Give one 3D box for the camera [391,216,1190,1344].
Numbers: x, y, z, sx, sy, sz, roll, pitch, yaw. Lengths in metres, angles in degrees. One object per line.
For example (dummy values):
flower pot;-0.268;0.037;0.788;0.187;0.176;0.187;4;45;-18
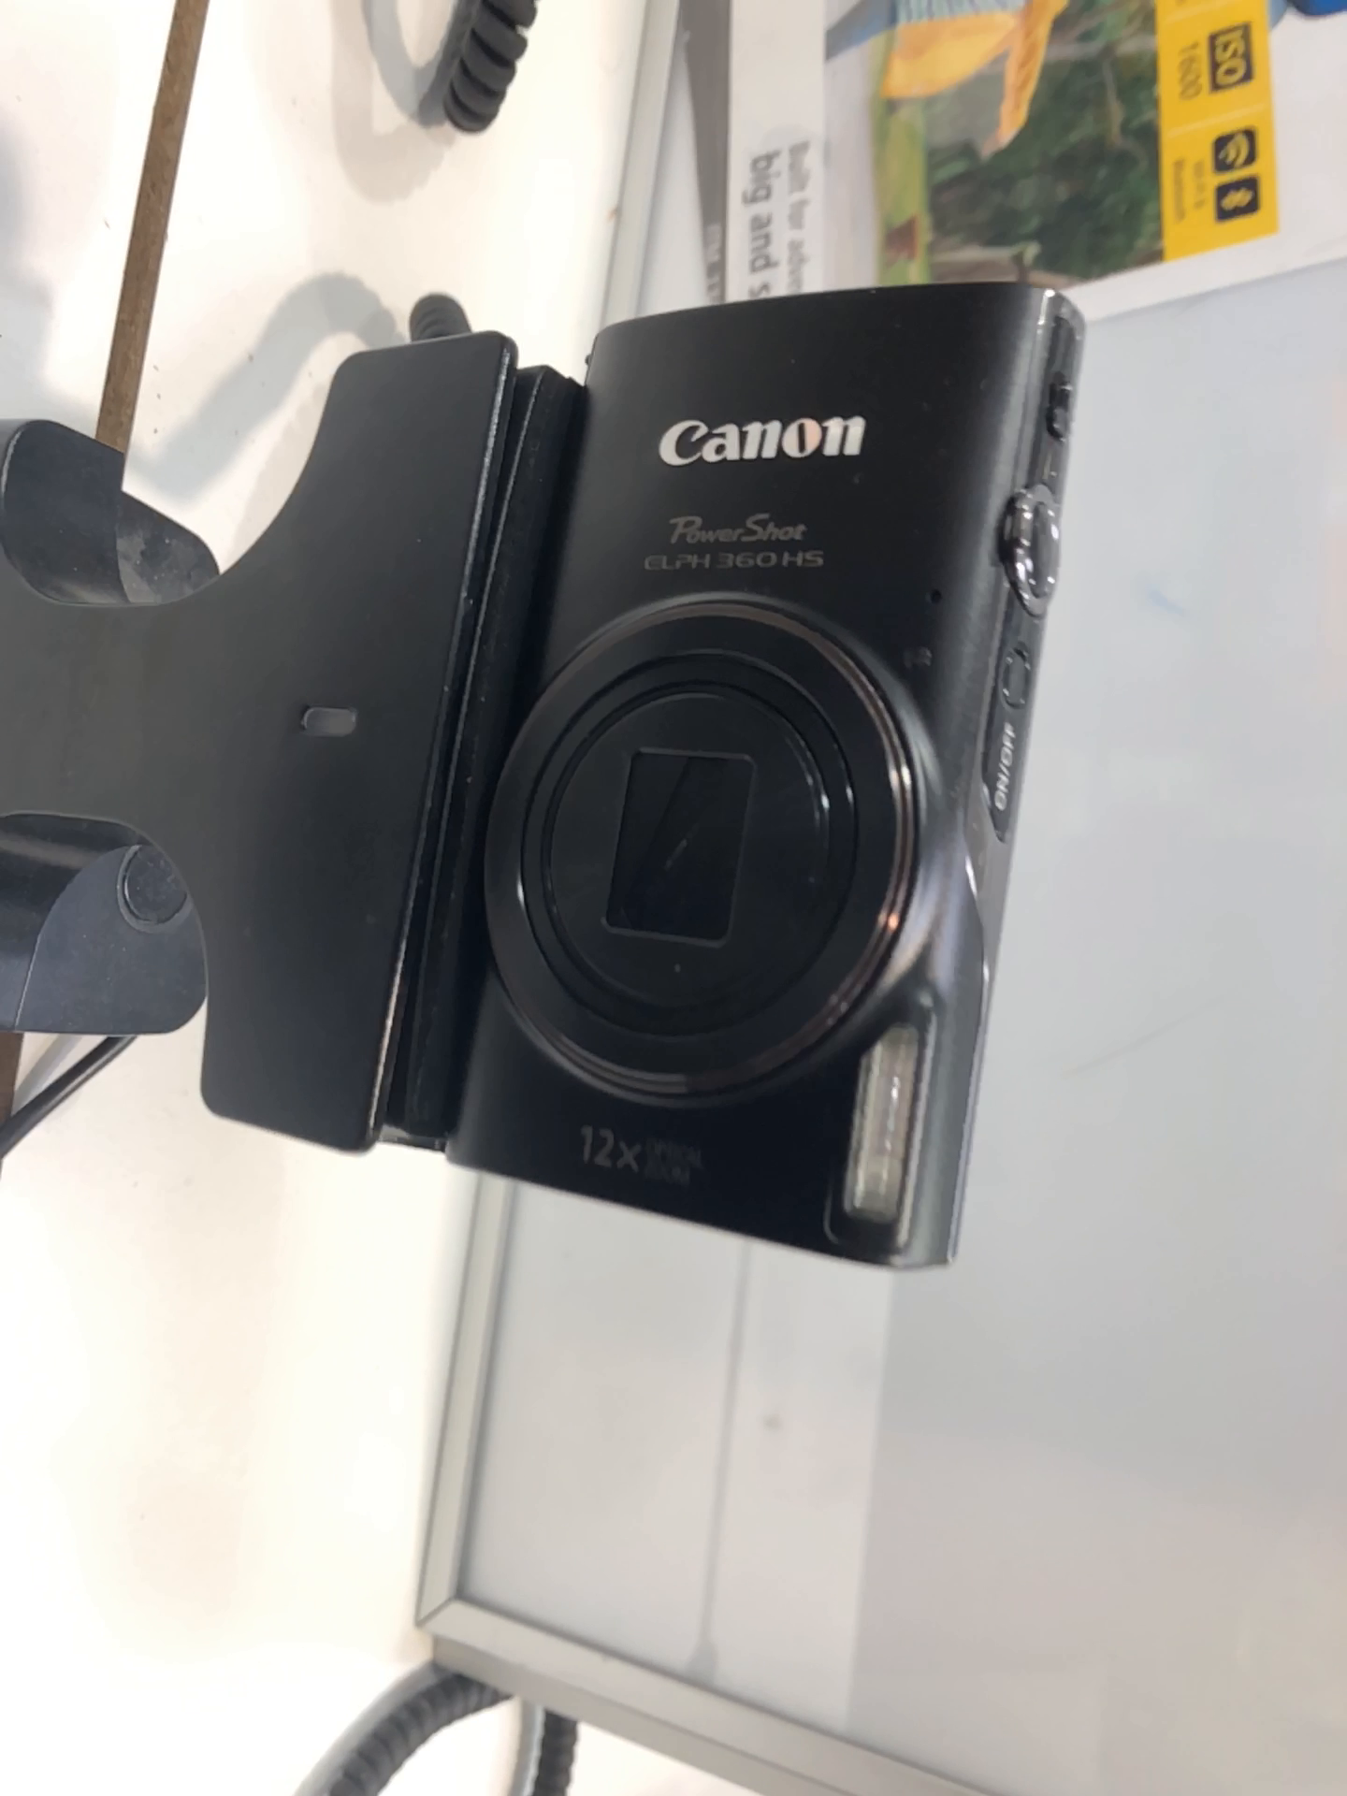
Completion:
camera;0.014;-0.013;0.173;0.030;0.070;0.110;23;74;-59
